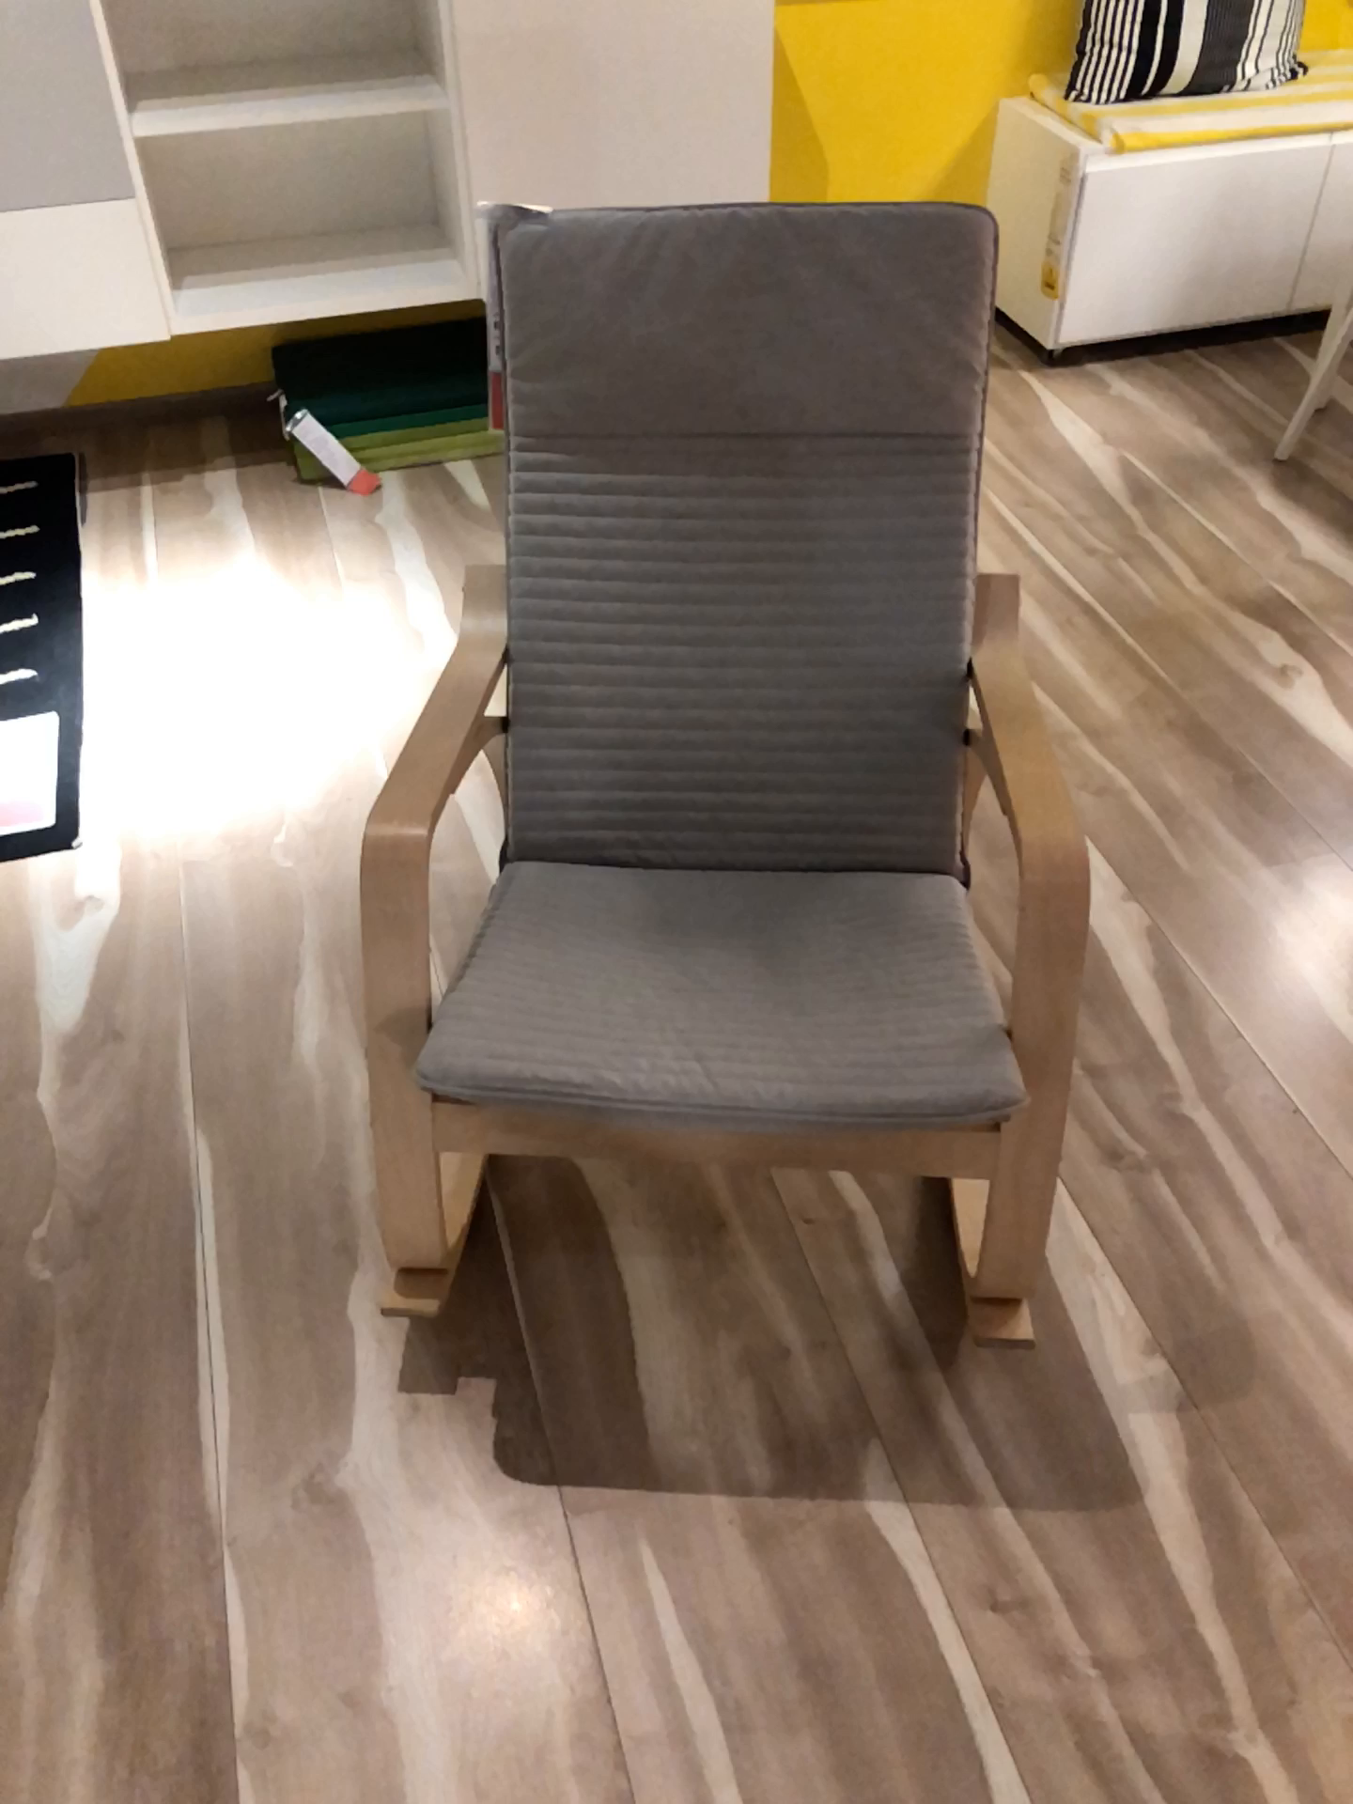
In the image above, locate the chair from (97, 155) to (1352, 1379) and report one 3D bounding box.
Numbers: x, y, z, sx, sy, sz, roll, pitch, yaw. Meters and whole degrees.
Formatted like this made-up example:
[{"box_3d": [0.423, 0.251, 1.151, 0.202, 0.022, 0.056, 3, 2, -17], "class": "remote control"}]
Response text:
[{"box_3d": [0.049, -0.114, 1.452, 0.750, 0.943, 0.705, 2, 43, 3], "class": "chair"}]
